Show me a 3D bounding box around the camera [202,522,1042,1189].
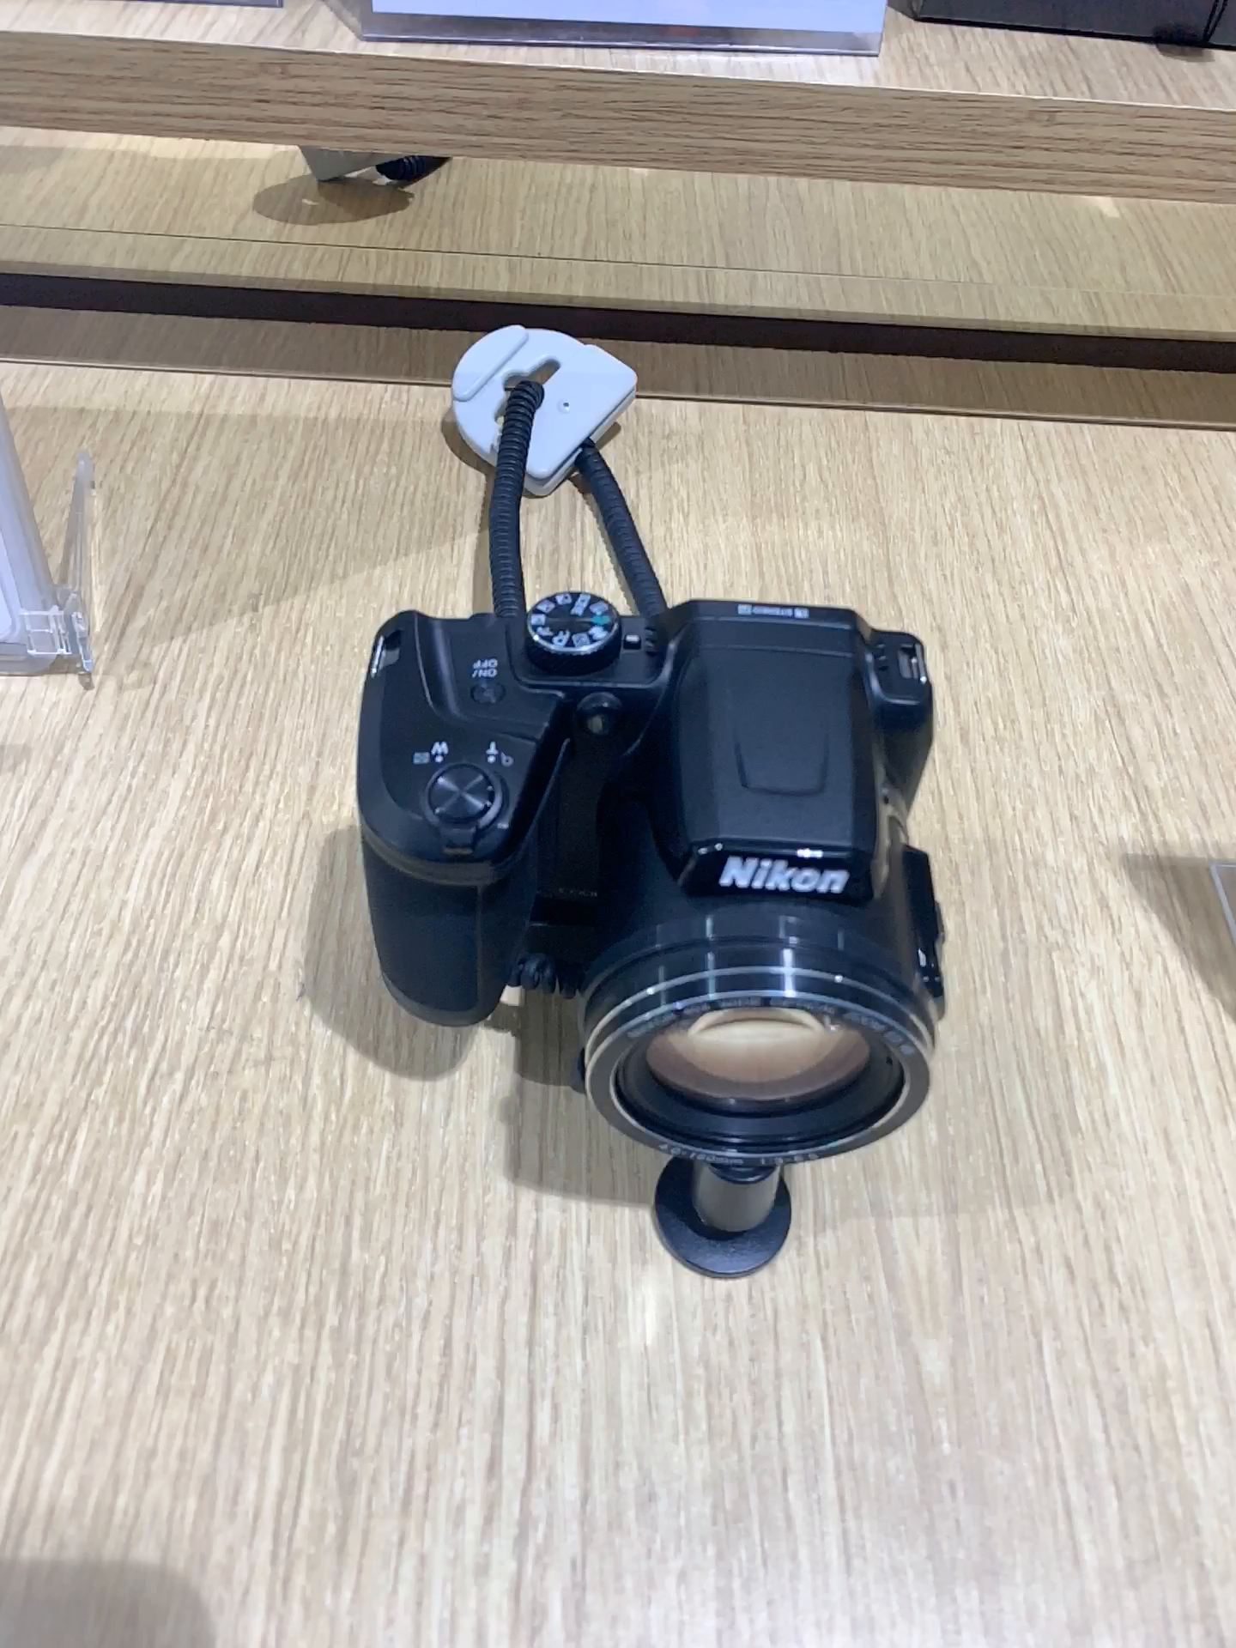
[{"bbox_3d":[0.000,0.007,0.240,0.120,0.080,0.090,3,50,-2],"label":"camera"}]
